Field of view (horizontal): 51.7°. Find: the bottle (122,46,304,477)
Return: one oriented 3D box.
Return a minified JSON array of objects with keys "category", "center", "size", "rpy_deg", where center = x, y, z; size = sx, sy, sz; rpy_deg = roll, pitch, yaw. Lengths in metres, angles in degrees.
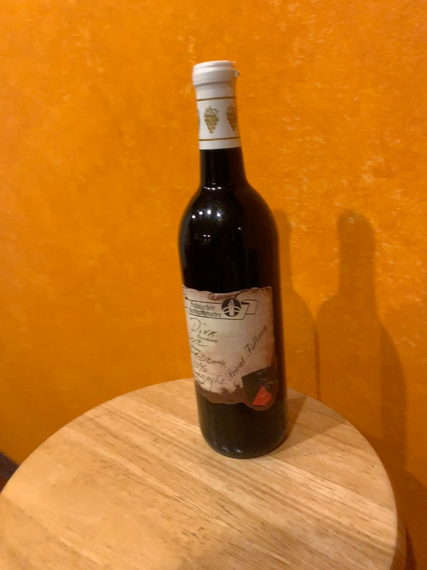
[{"category":"bottle","center":[0.010,-0.009,0.332],"size":[0.080,0.289,0.070],"rpy_deg":[10,26,40]}]
